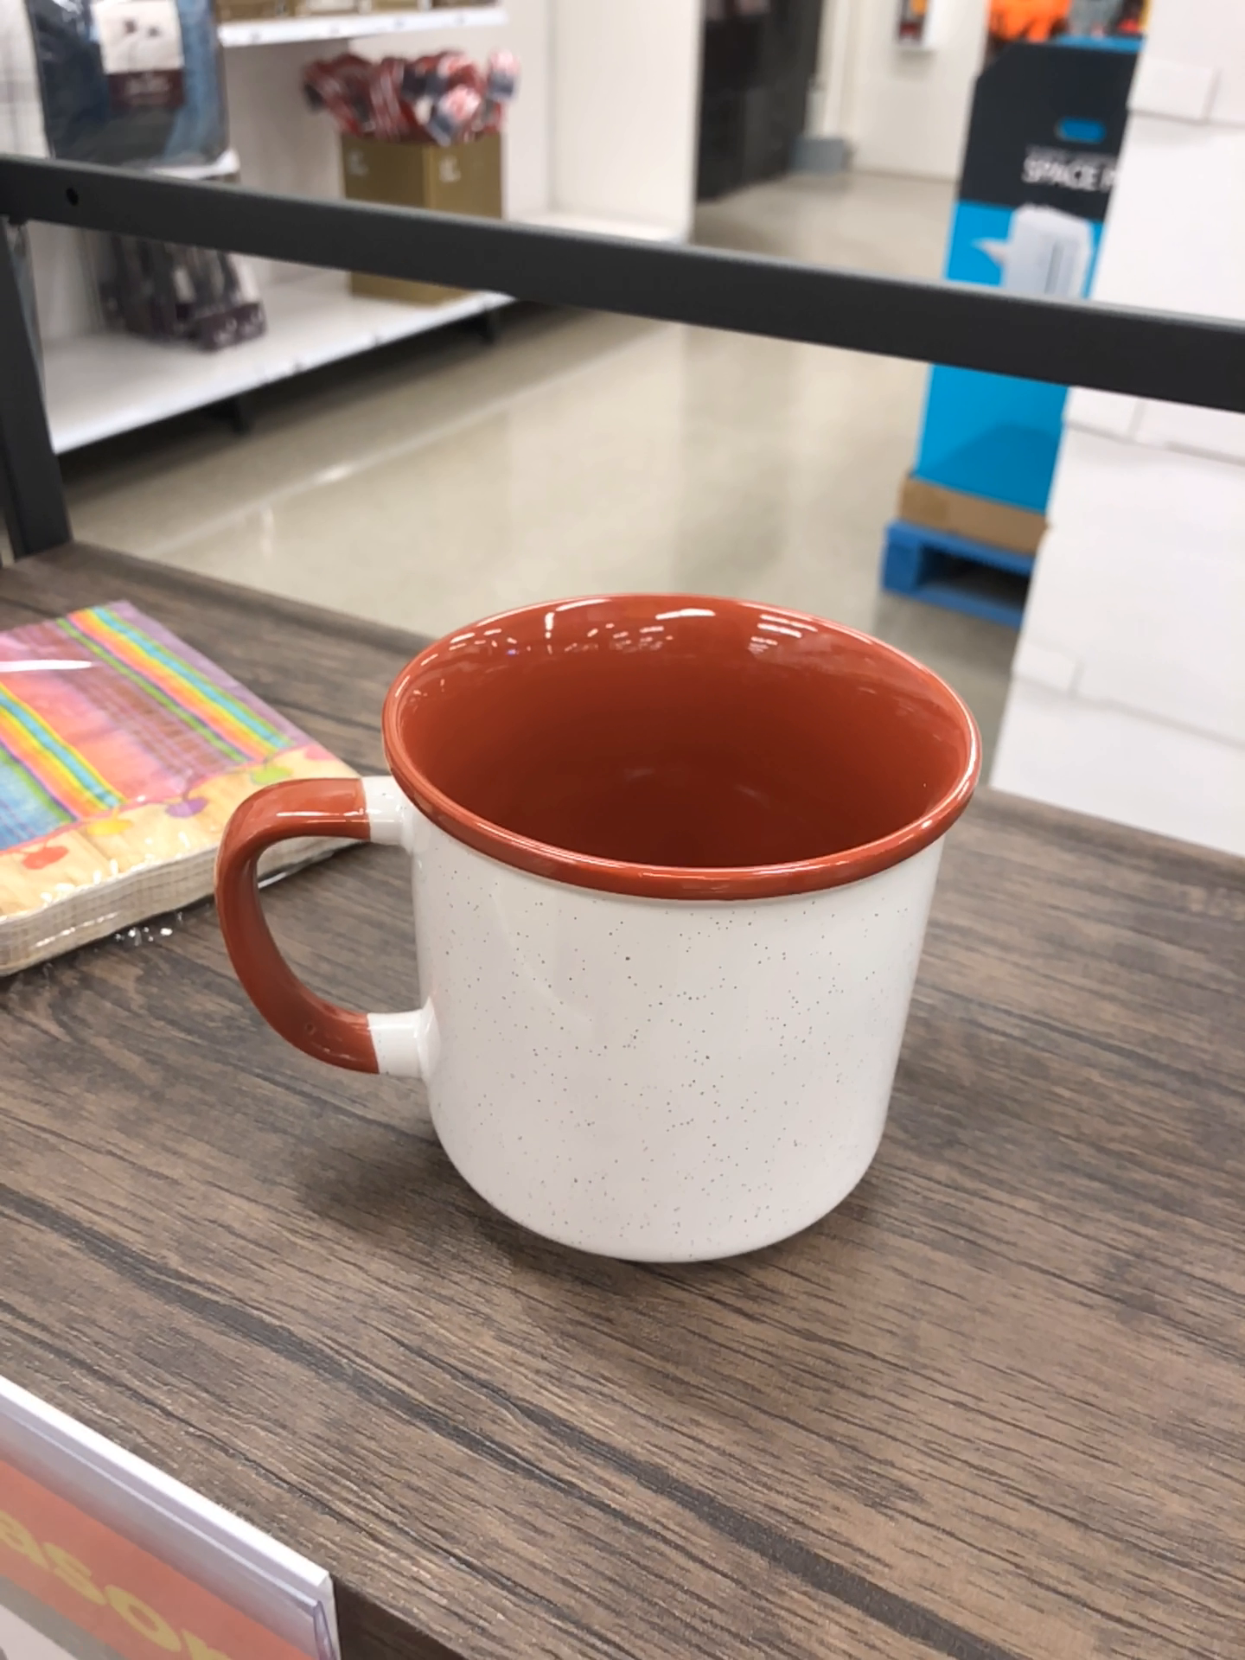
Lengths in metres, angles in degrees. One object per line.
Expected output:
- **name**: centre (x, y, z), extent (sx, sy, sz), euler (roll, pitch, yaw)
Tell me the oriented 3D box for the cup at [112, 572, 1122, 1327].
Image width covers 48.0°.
- **cup**: centre (-0.006, 0.015, 0.276), extent (0.150, 0.090, 0.110), euler (-3, 34, -7)
